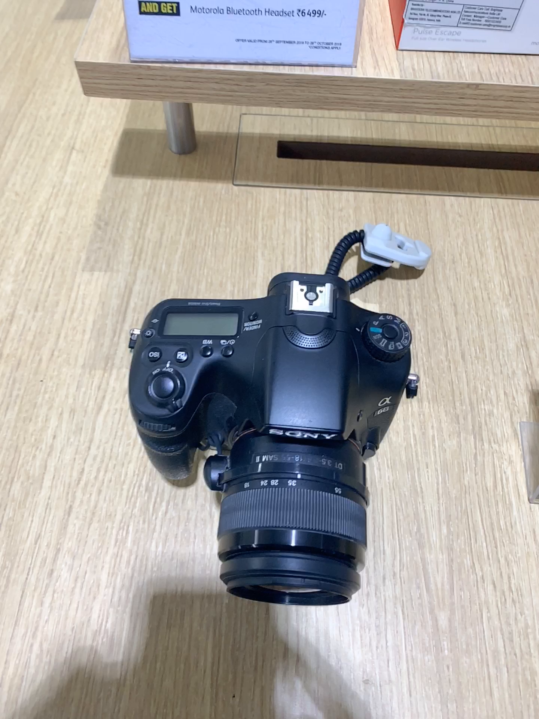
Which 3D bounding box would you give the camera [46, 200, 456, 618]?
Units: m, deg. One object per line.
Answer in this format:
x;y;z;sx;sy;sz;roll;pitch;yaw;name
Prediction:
-0.001;0.021;0.271;0.140;0.090;0.170;5;59;2;camera
